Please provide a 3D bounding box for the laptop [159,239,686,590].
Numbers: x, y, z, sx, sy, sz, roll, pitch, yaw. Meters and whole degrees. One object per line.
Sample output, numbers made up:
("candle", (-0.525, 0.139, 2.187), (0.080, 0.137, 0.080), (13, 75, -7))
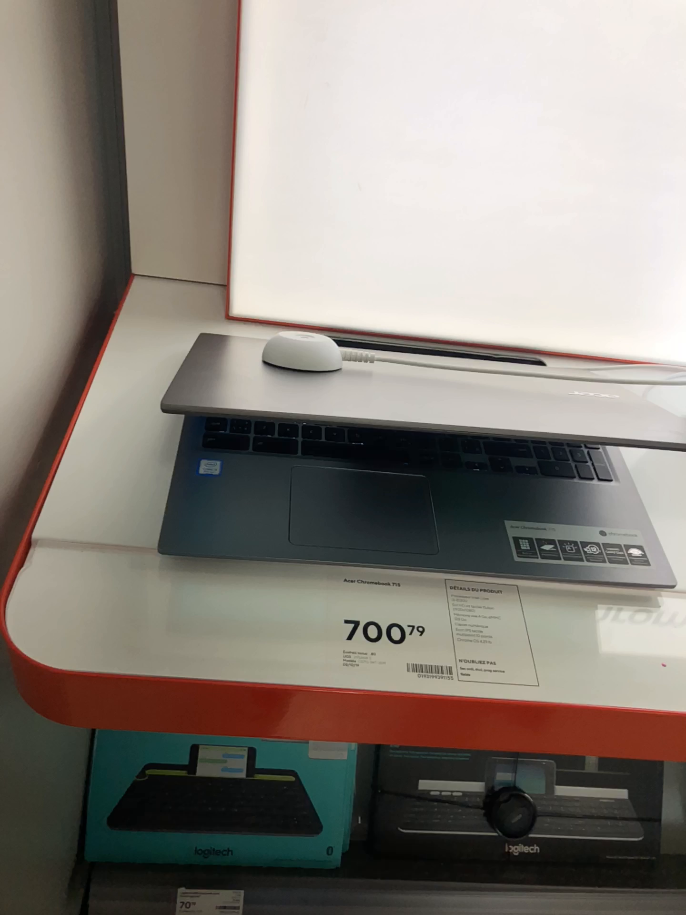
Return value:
("laptop", (0.063, -0.040, 0.563), (0.356, 0.105, 0.237), (5, 41, -7))
